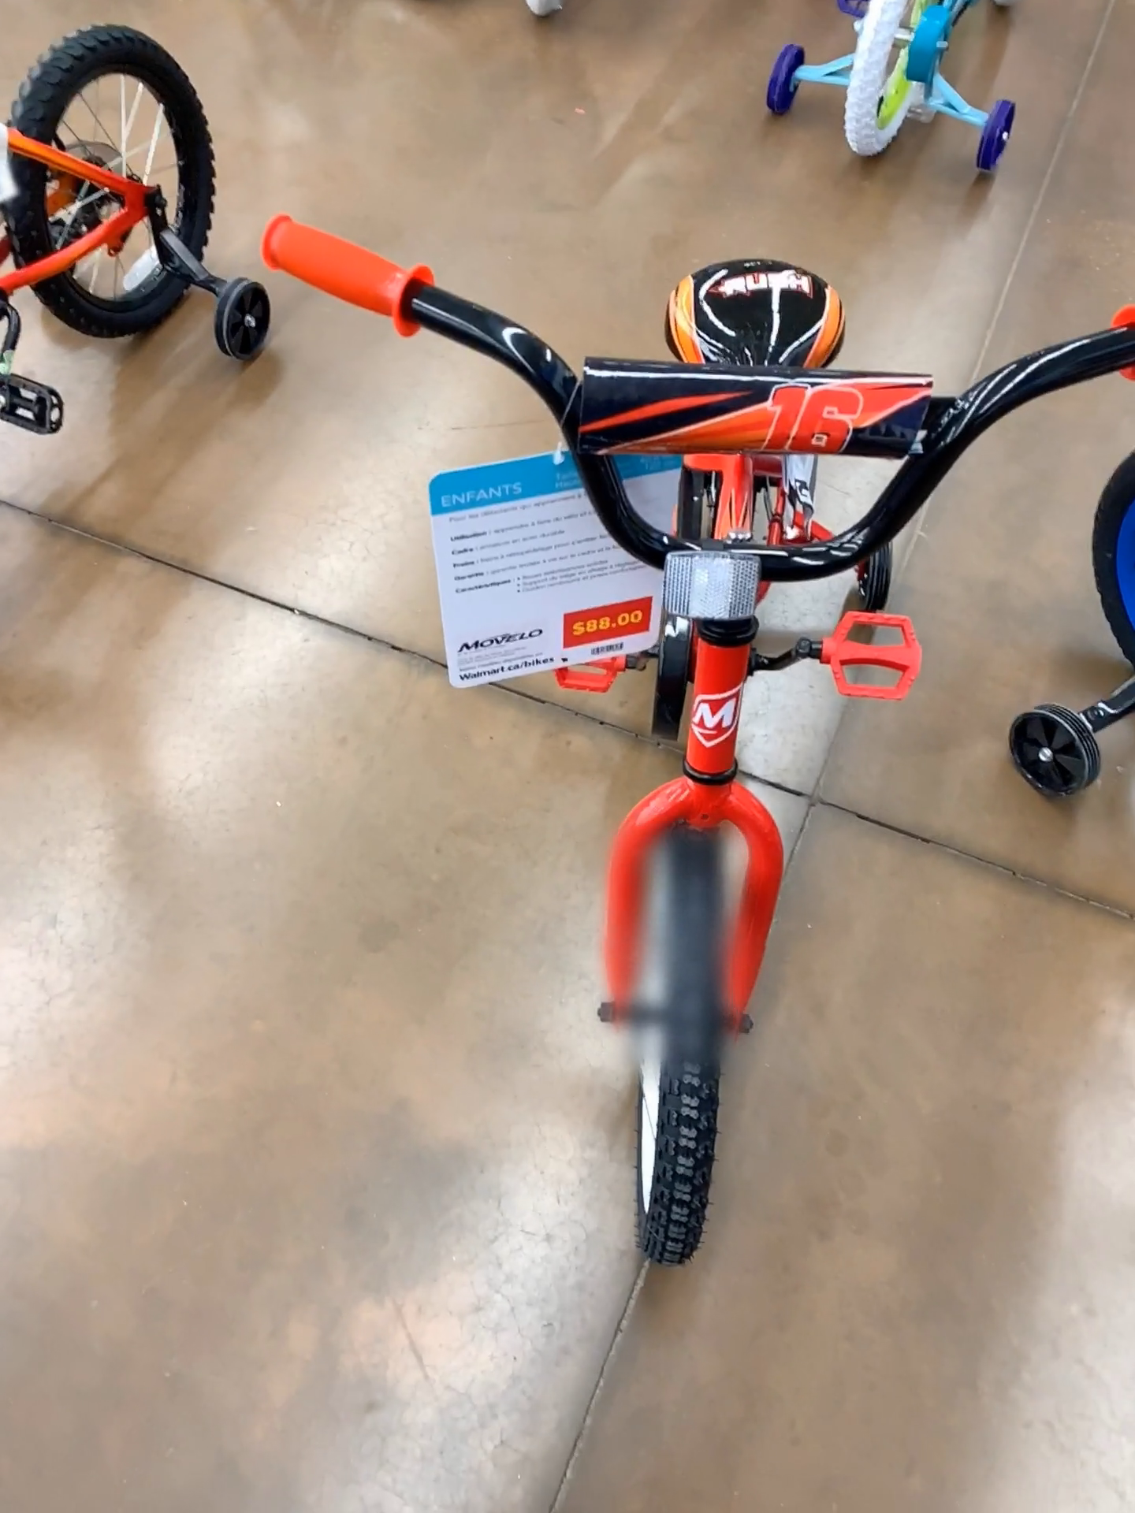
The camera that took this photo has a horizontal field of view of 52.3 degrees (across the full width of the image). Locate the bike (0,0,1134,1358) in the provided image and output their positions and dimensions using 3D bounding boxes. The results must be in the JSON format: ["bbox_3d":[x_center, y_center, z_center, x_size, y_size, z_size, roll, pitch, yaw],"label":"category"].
[{"bbox_3d":[0.154,-0.160,1.028,0.584,0.849,1.074,6,55,4],"label":"bike"}]
